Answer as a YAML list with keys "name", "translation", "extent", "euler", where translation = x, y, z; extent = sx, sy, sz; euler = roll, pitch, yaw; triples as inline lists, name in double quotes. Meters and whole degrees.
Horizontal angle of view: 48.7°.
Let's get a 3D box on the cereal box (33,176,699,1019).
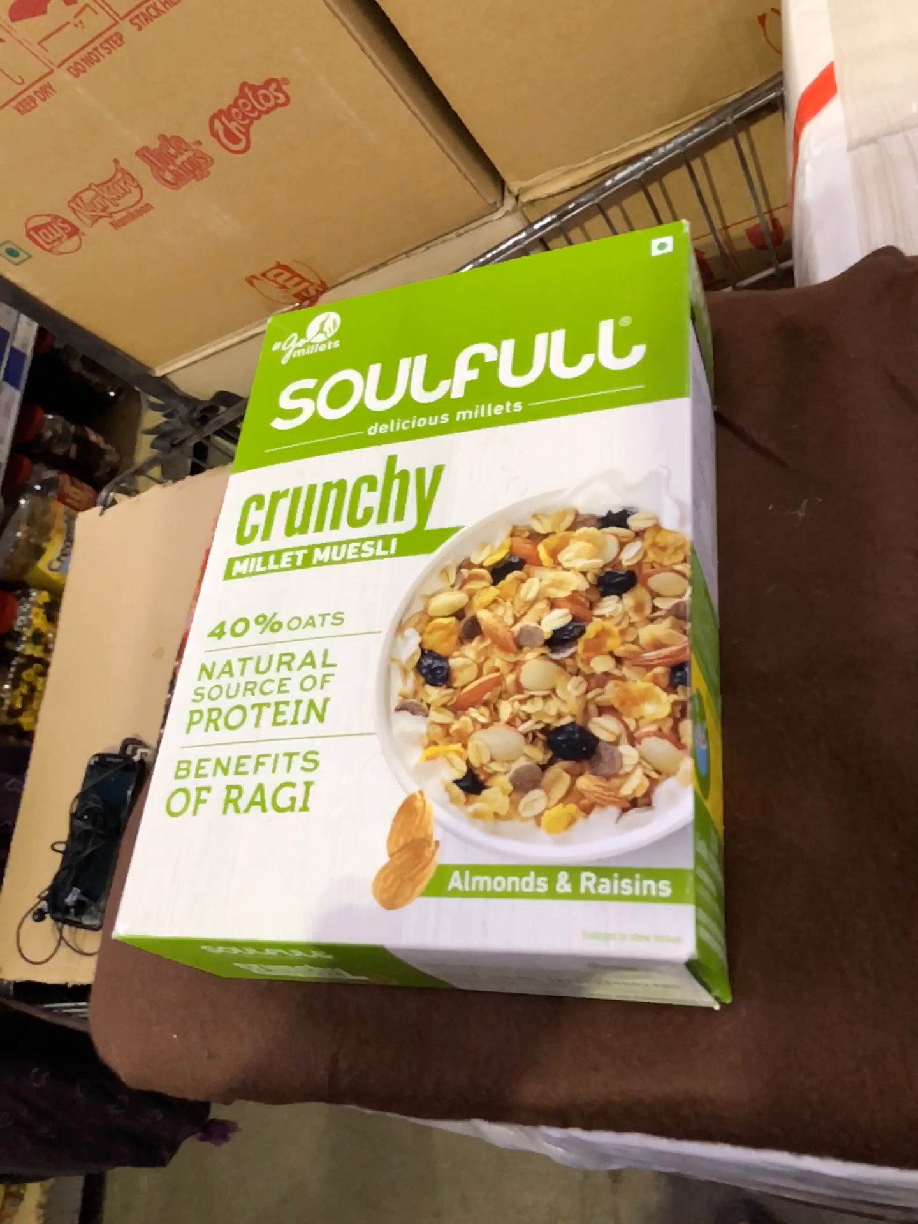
- name: "cereal box"
  translation: [-0.013, -0.011, 0.316]
  extent: [0.160, 0.060, 0.241]
  euler: [-7, 57, 24]
